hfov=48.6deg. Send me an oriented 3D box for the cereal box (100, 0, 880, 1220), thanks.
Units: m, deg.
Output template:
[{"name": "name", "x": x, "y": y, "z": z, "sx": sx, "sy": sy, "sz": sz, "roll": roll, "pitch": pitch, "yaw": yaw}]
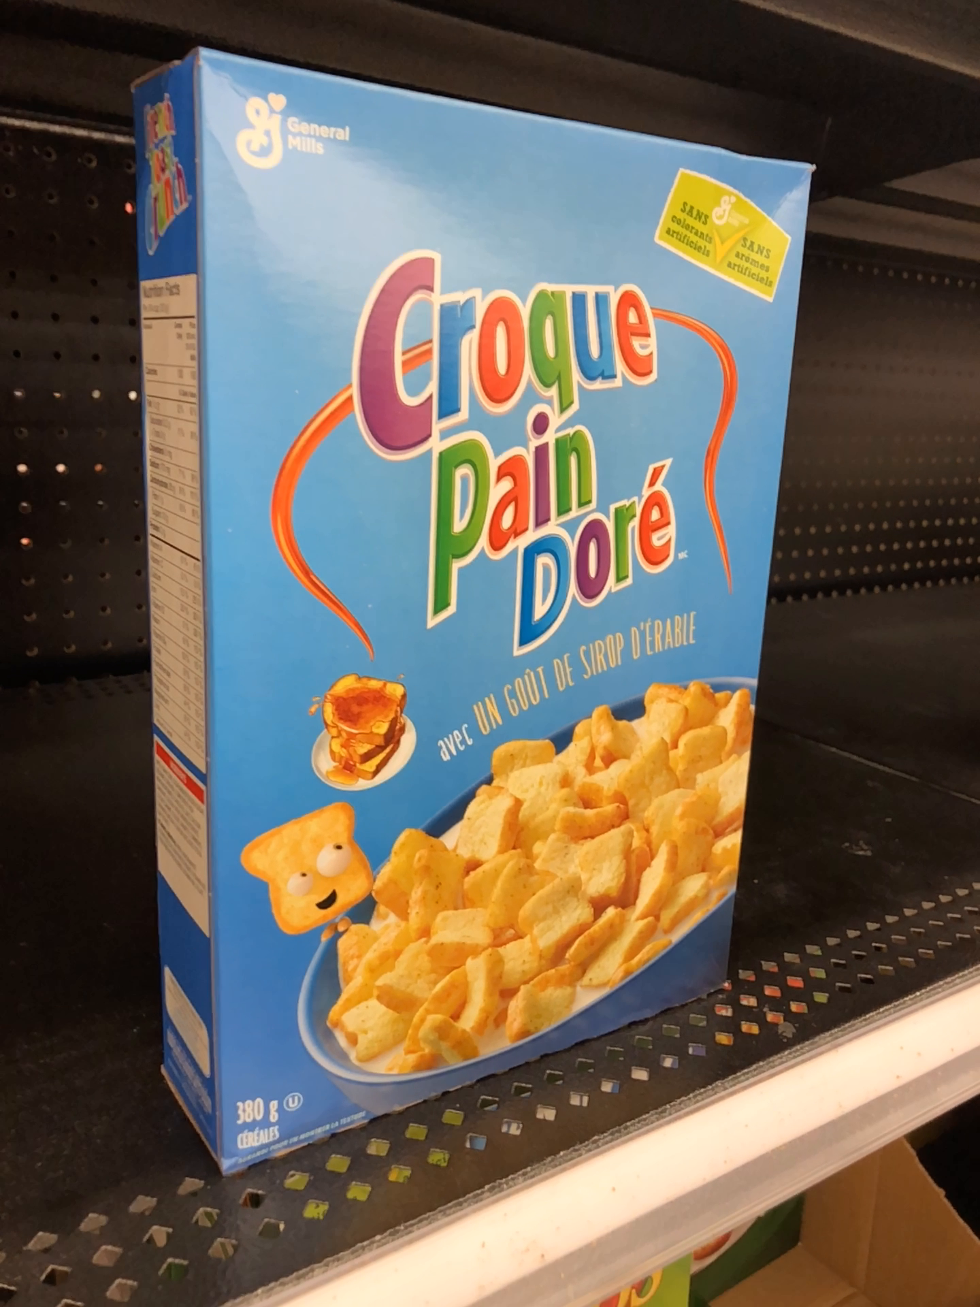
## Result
[{"name": "cereal box", "x": 0.008, "y": -0.010, "z": 0.311, "sx": 0.210, "sy": 0.269, "sz": 0.050, "roll": -7, "pitch": 16, "yaw": -34}]
